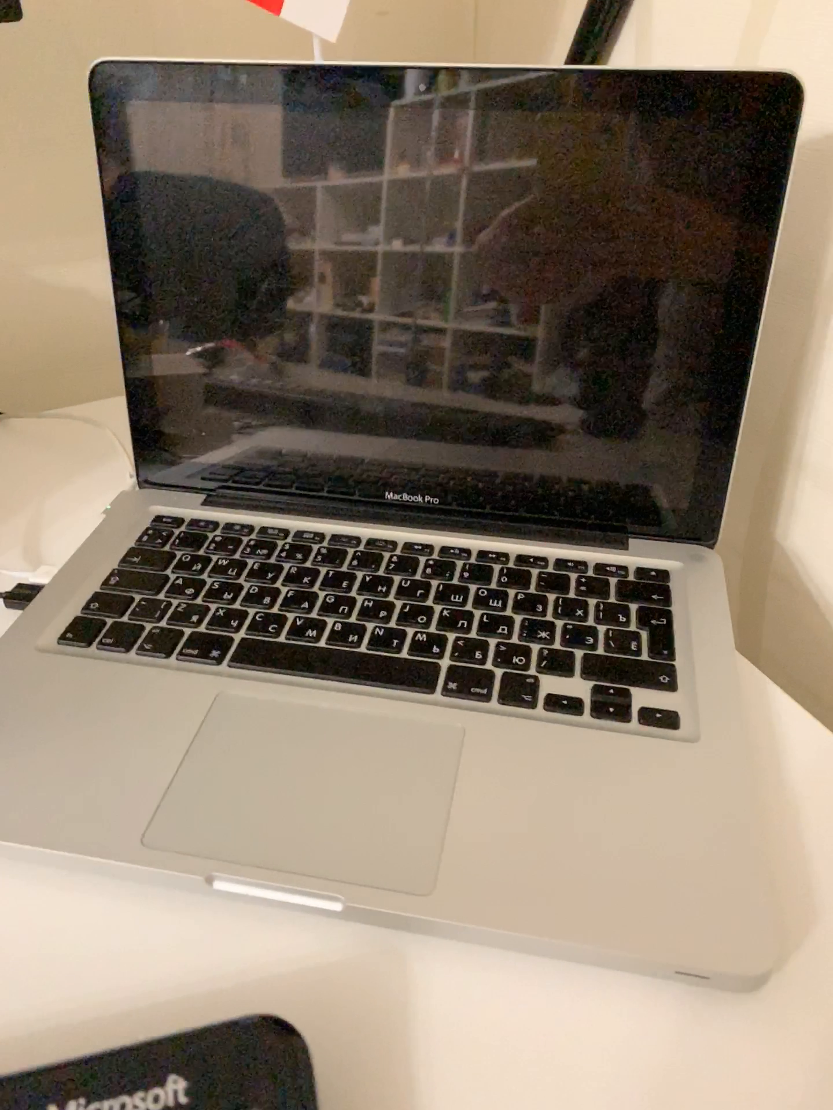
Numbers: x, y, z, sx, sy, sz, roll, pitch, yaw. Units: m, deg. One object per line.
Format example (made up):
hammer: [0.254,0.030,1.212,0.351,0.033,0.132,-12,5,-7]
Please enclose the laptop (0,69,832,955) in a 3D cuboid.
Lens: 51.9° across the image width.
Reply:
laptop: [-0.016,-0.051,0.321,0.300,0.196,0.251,6,37,9]
